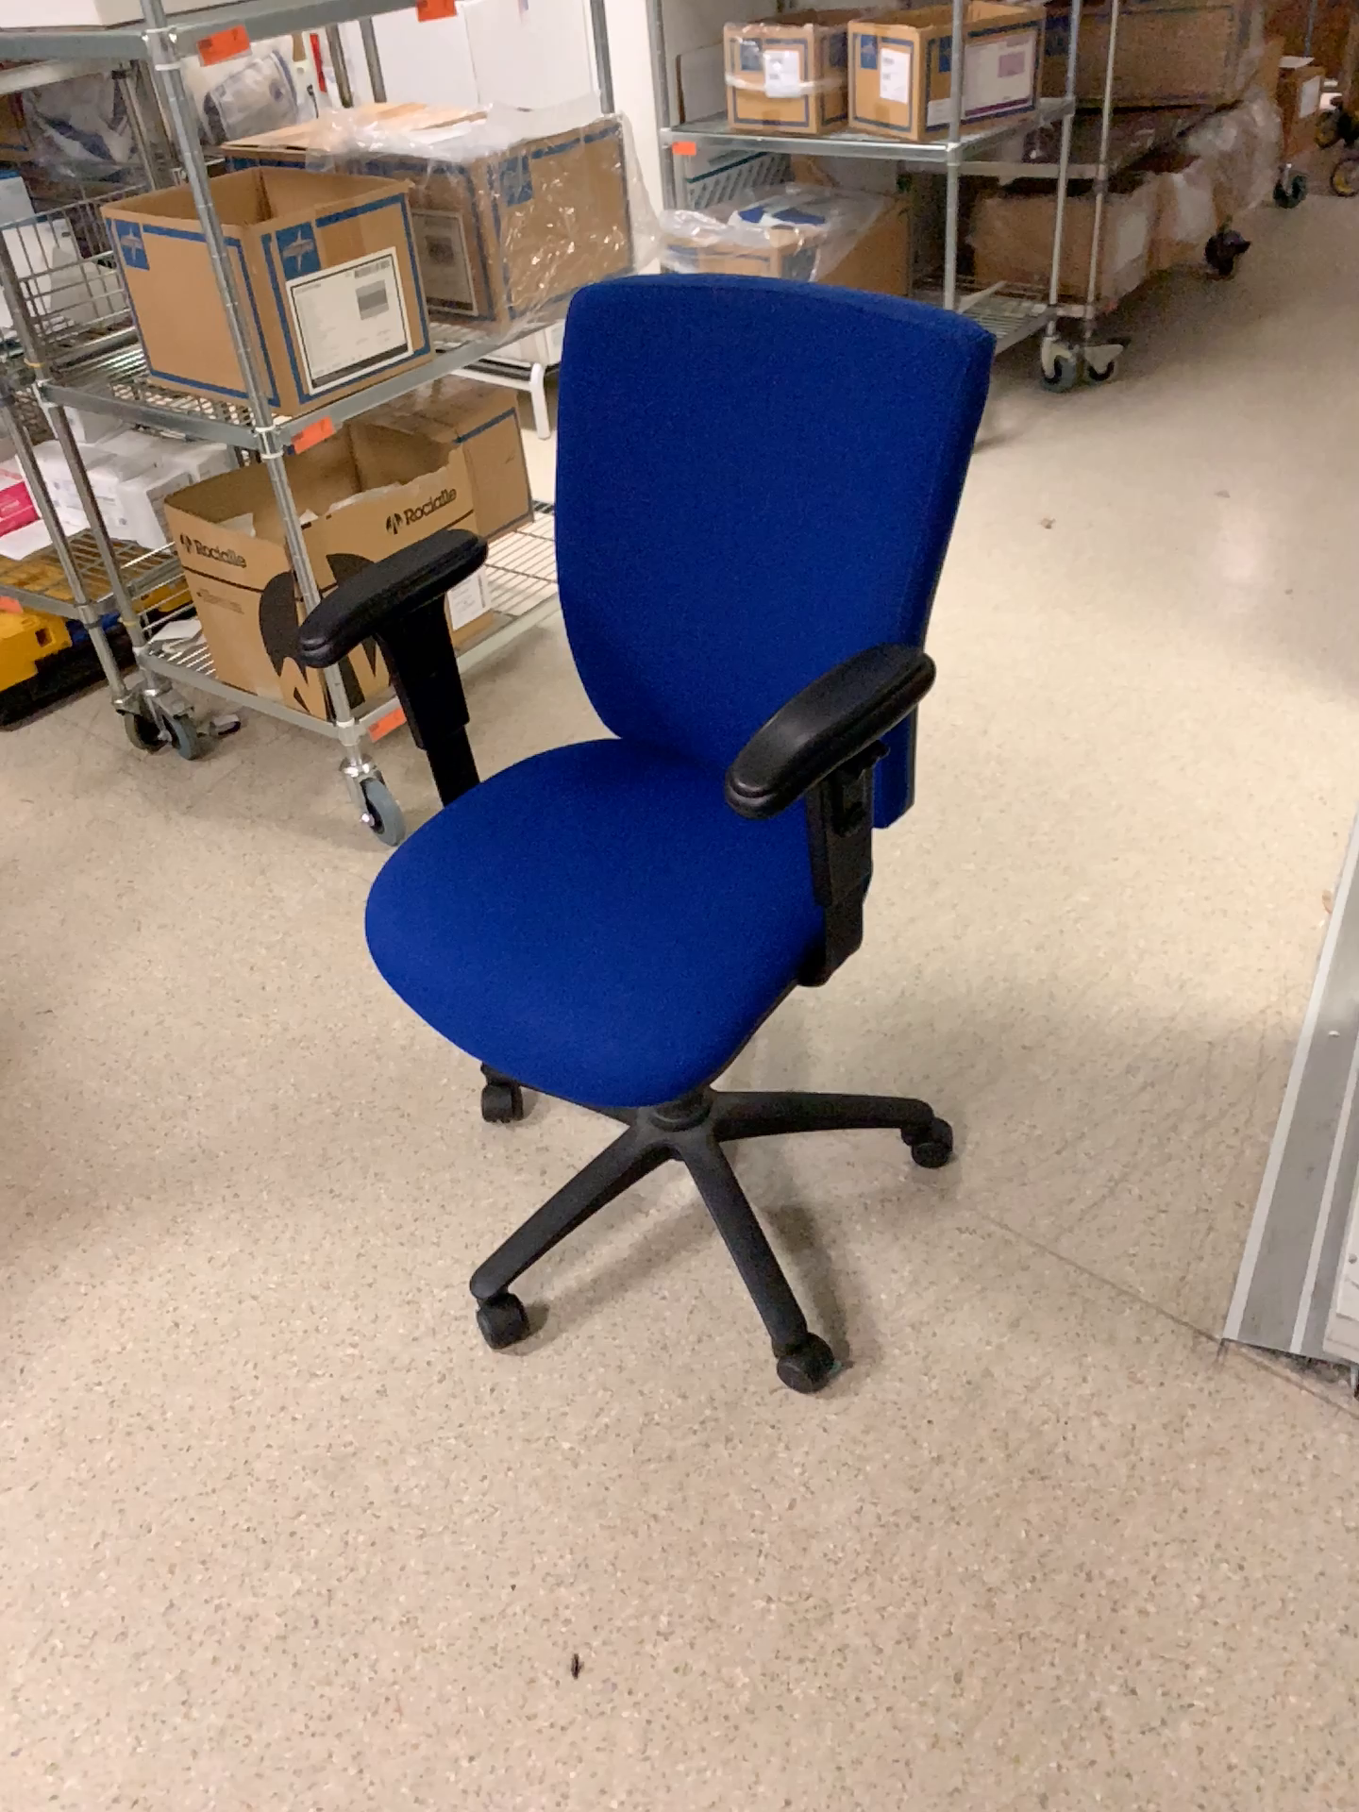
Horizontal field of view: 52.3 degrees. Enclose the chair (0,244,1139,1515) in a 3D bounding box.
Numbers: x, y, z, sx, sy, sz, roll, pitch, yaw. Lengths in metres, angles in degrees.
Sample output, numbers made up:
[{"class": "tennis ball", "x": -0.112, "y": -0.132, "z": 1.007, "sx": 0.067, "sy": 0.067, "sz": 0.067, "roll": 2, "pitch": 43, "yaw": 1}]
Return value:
[{"class": "chair", "x": -0.033, "y": -0.084, "z": 1.467, "sx": 0.672, "sy": 0.931, "sz": 0.765, "roll": 19, "pitch": 44, "yaw": 29}]
